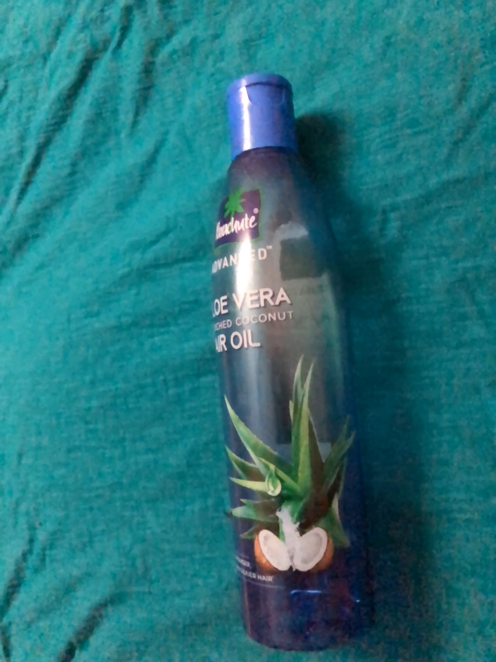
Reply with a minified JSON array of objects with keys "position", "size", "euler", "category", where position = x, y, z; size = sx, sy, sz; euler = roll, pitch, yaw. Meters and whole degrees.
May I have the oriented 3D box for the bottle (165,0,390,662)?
[{"position":[0.008,0.000,0.194],"size":[0.050,0.040,0.210],"euler":[-9,82,40],"category":"bottle"}]
